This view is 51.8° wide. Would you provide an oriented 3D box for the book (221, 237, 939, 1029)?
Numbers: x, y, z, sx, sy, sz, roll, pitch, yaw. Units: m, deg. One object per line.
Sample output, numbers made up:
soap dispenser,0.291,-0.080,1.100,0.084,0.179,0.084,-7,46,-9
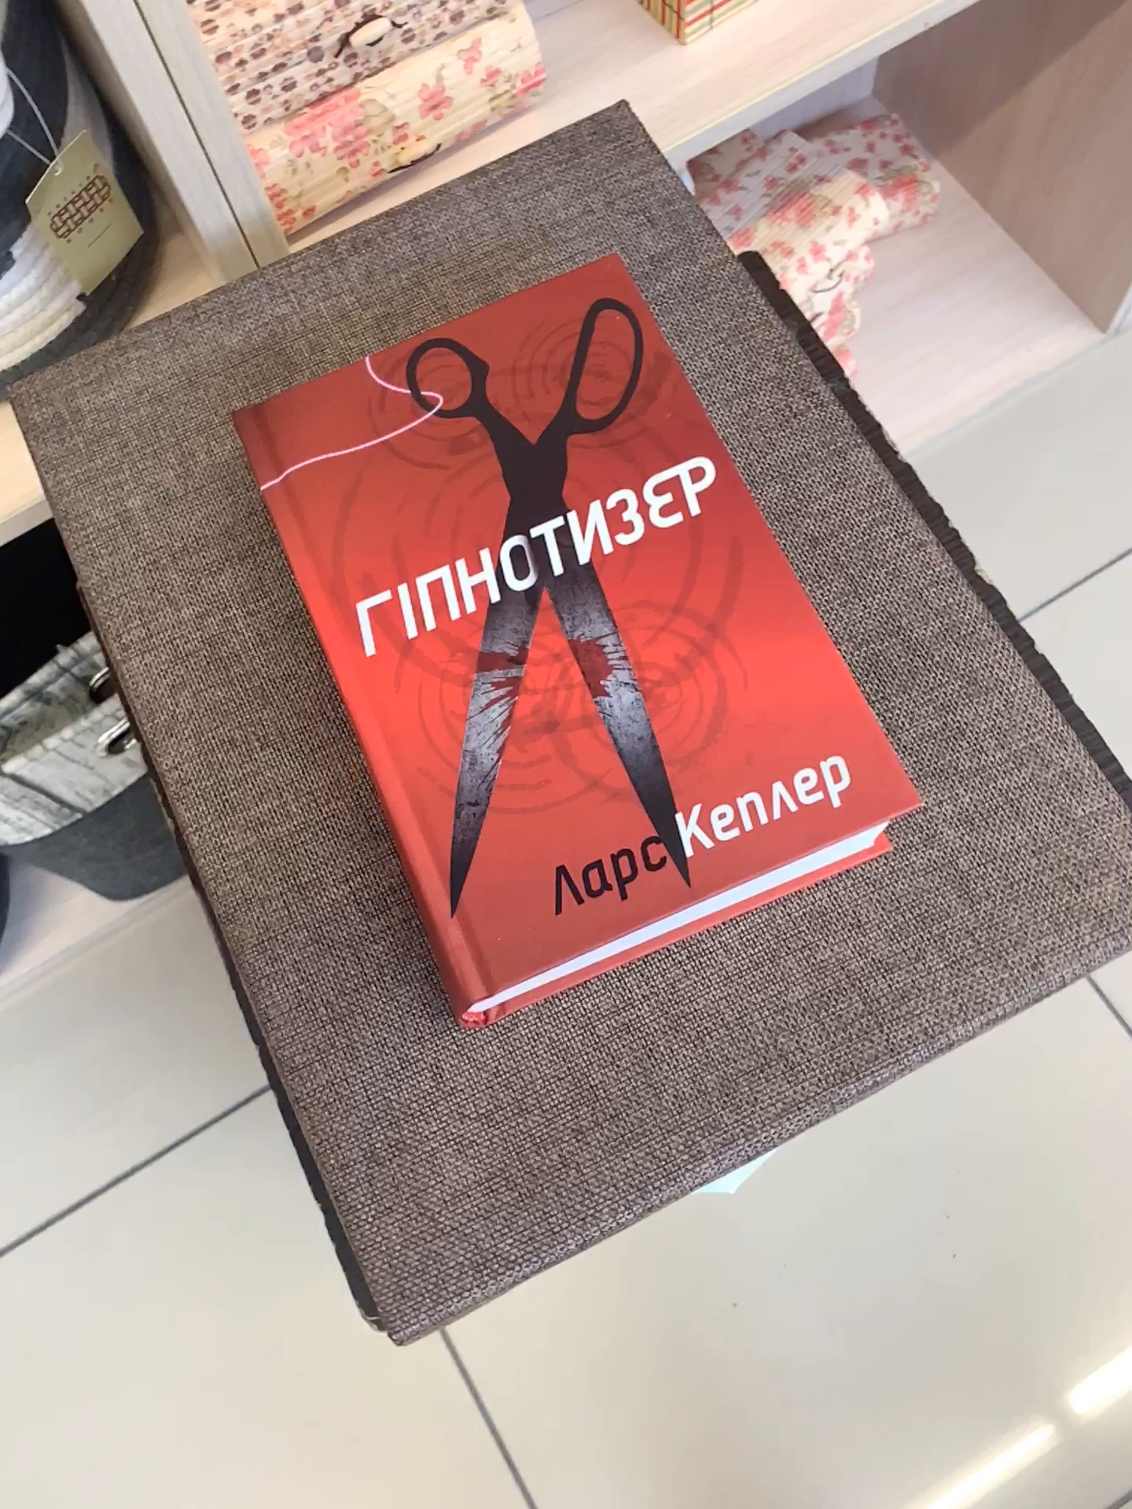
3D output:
book,-0.002,-0.039,0.345,0.132,0.050,0.195,-23,72,-3
